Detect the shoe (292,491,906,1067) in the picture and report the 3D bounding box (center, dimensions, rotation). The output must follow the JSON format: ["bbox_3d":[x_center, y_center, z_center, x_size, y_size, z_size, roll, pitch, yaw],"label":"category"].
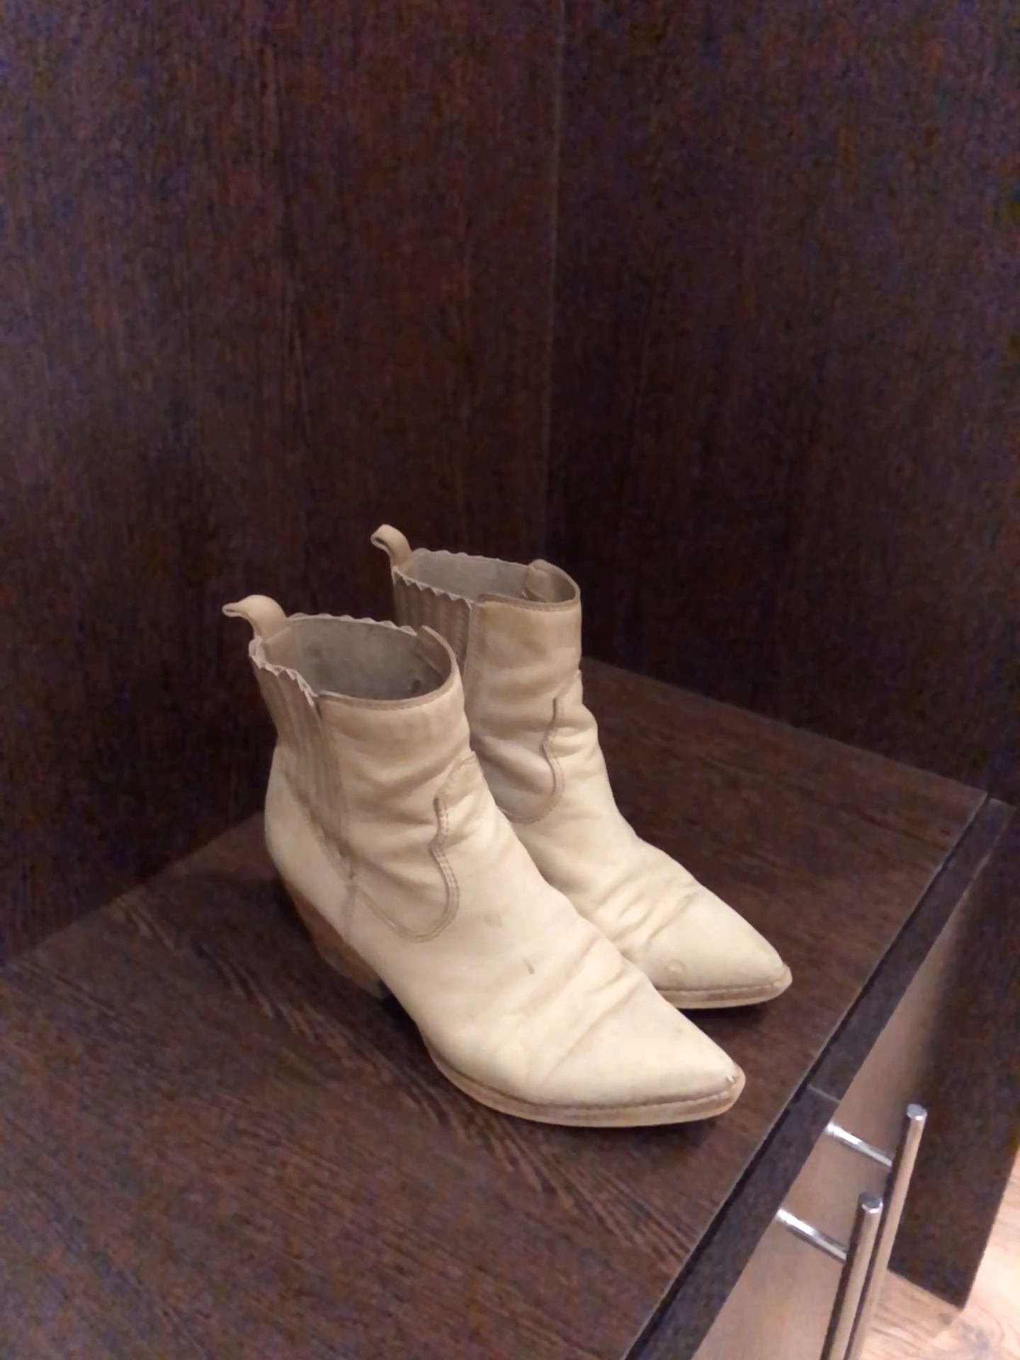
[{"bbox_3d":[0.027,0.030,0.561,0.280,0.169,0.100,23,34,35],"label":"shoe"}]

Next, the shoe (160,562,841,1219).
[{"bbox_3d":[-0.014,0.074,0.498,0.270,0.169,0.100,20,34,32],"label":"shoe"}]
